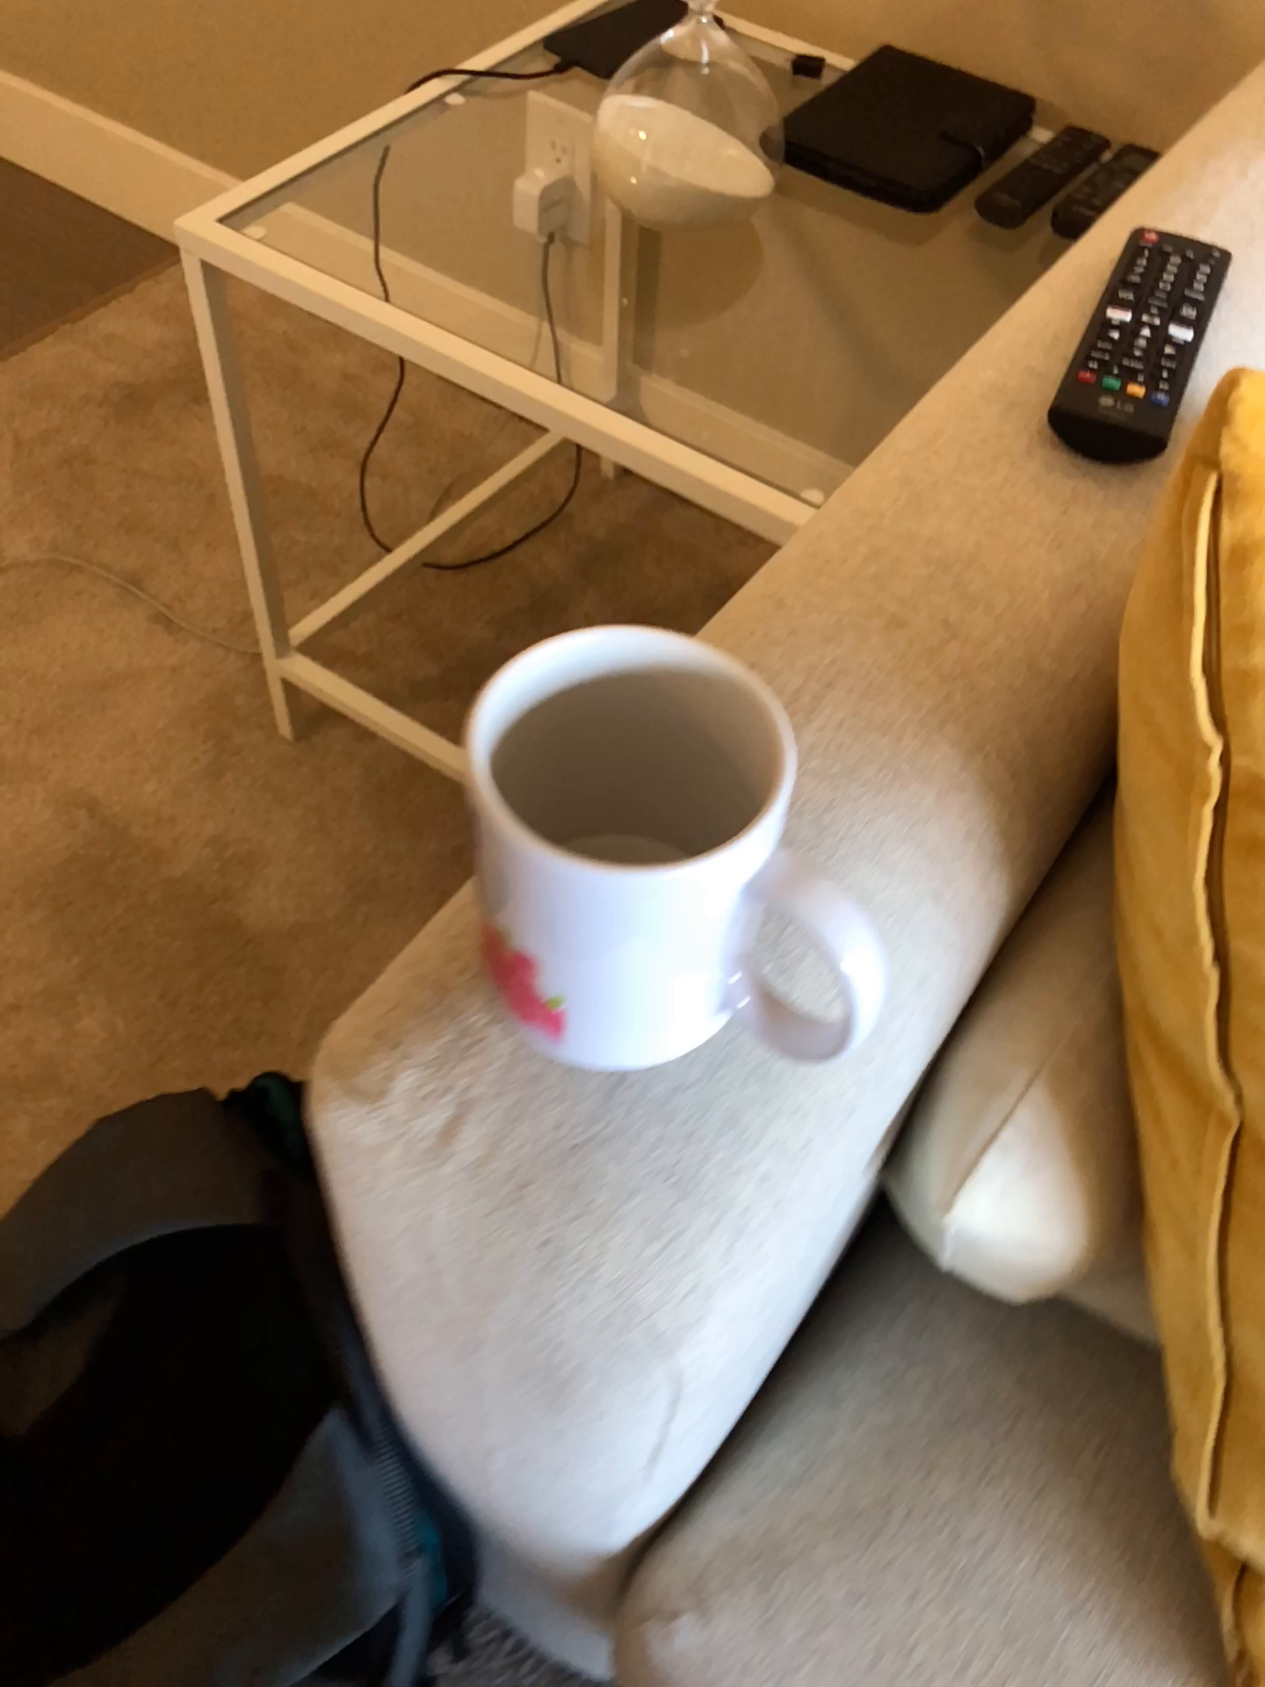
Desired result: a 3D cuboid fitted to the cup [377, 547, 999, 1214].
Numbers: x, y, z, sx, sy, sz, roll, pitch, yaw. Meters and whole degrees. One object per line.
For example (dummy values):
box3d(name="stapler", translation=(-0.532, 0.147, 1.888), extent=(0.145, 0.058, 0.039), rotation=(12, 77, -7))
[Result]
box3d(name="cup", translation=(0.010, 0.009, 0.364), extent=(0.120, 0.100, 0.080), rotation=(35, 57, 21))
